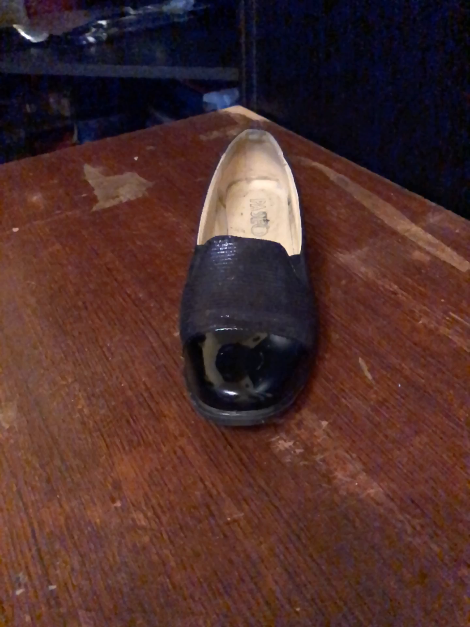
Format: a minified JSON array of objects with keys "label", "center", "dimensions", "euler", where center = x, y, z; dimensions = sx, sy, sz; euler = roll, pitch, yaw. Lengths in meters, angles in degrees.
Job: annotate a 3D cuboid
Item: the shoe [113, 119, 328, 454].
[{"label":"shoe","center":[0.009,-0.039,0.333],"dimensions":[0.089,0.090,0.236],"euler":[3,39,7]}]
